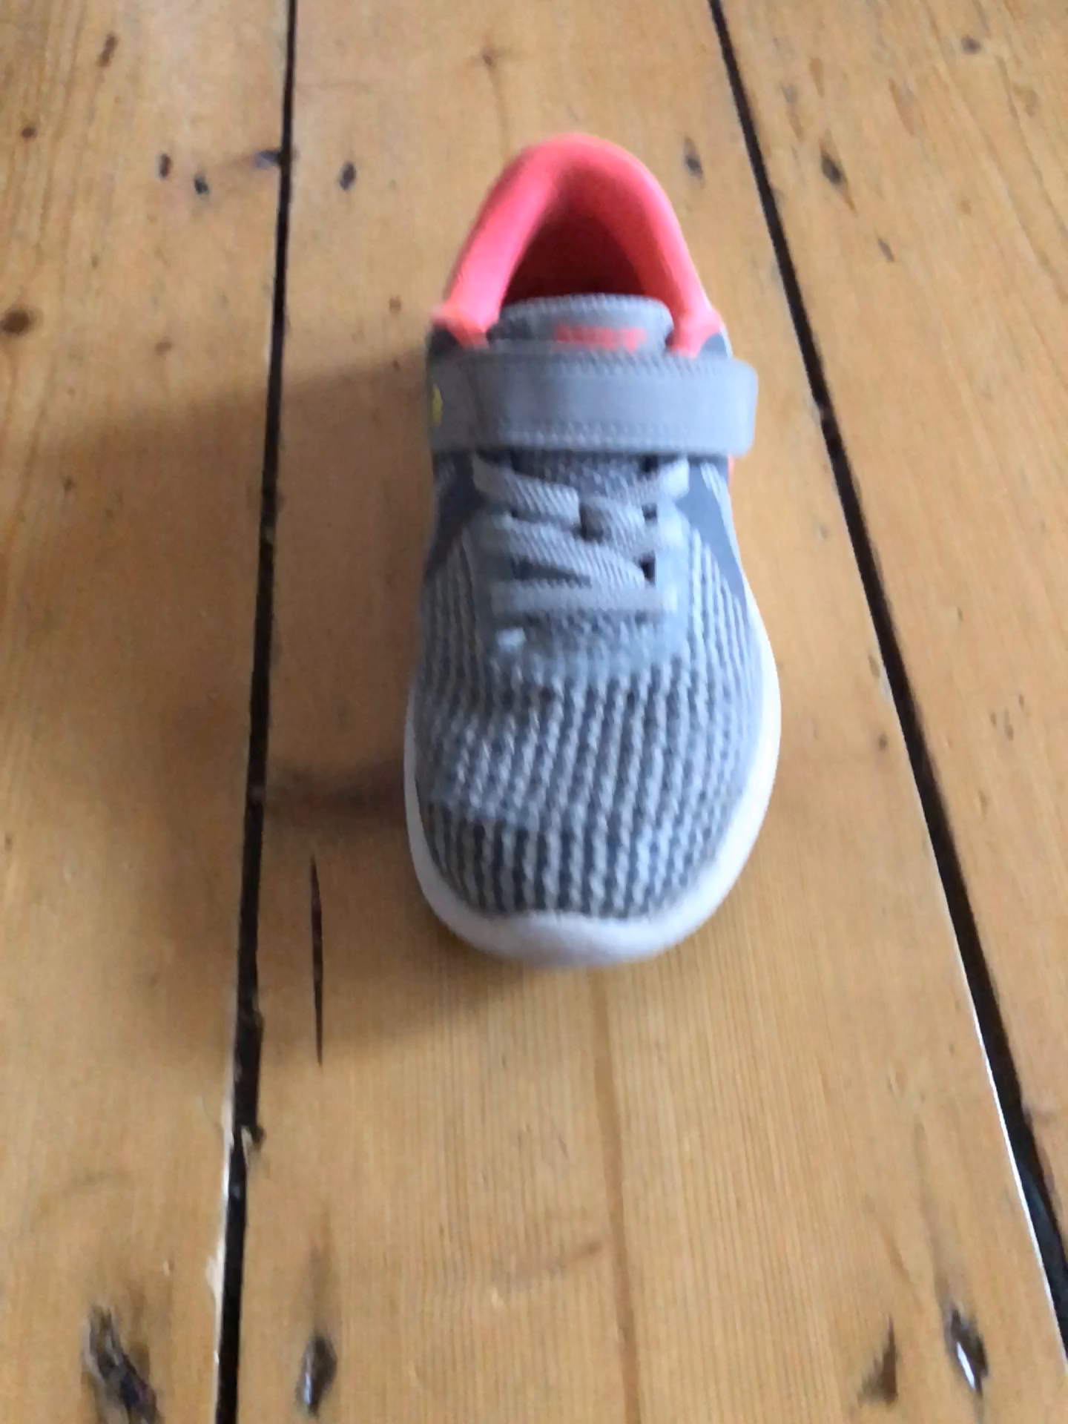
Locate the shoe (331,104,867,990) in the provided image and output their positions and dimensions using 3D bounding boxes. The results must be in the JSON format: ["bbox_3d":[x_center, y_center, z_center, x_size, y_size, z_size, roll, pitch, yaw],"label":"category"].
[{"bbox_3d":[0.010,-0.040,0.253,0.080,0.070,0.181,-1,60,1],"label":"shoe"}]
